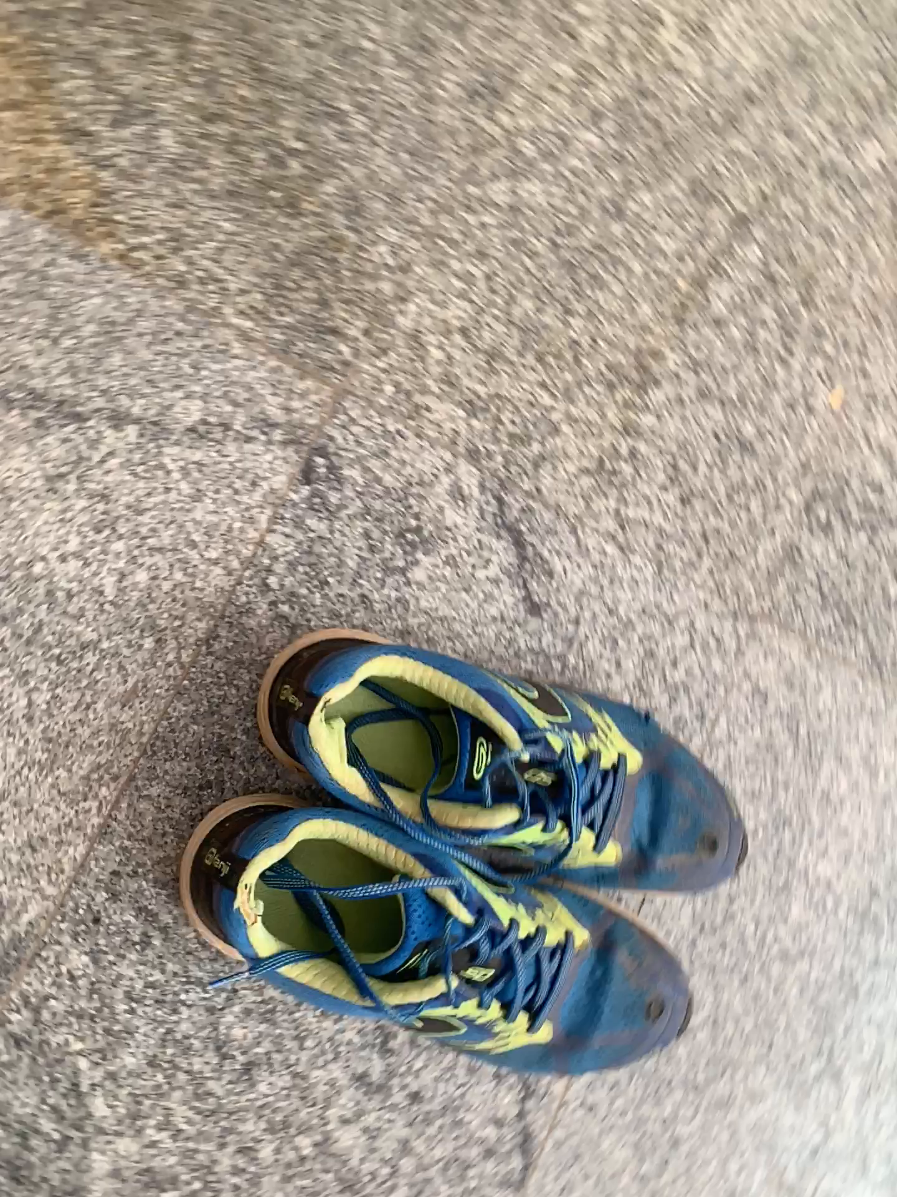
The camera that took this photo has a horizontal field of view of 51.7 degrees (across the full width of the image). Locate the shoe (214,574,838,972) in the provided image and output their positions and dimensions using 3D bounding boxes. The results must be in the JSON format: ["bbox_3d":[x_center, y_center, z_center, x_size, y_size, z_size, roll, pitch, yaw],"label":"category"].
[{"bbox_3d":[0.040,0.088,0.477,0.290,0.060,0.100,21,91,-8],"label":"shoe"}]

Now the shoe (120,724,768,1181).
[{"bbox_3d":[0.002,0.173,0.465,0.290,0.060,0.110,25,81,-7],"label":"shoe"}]
